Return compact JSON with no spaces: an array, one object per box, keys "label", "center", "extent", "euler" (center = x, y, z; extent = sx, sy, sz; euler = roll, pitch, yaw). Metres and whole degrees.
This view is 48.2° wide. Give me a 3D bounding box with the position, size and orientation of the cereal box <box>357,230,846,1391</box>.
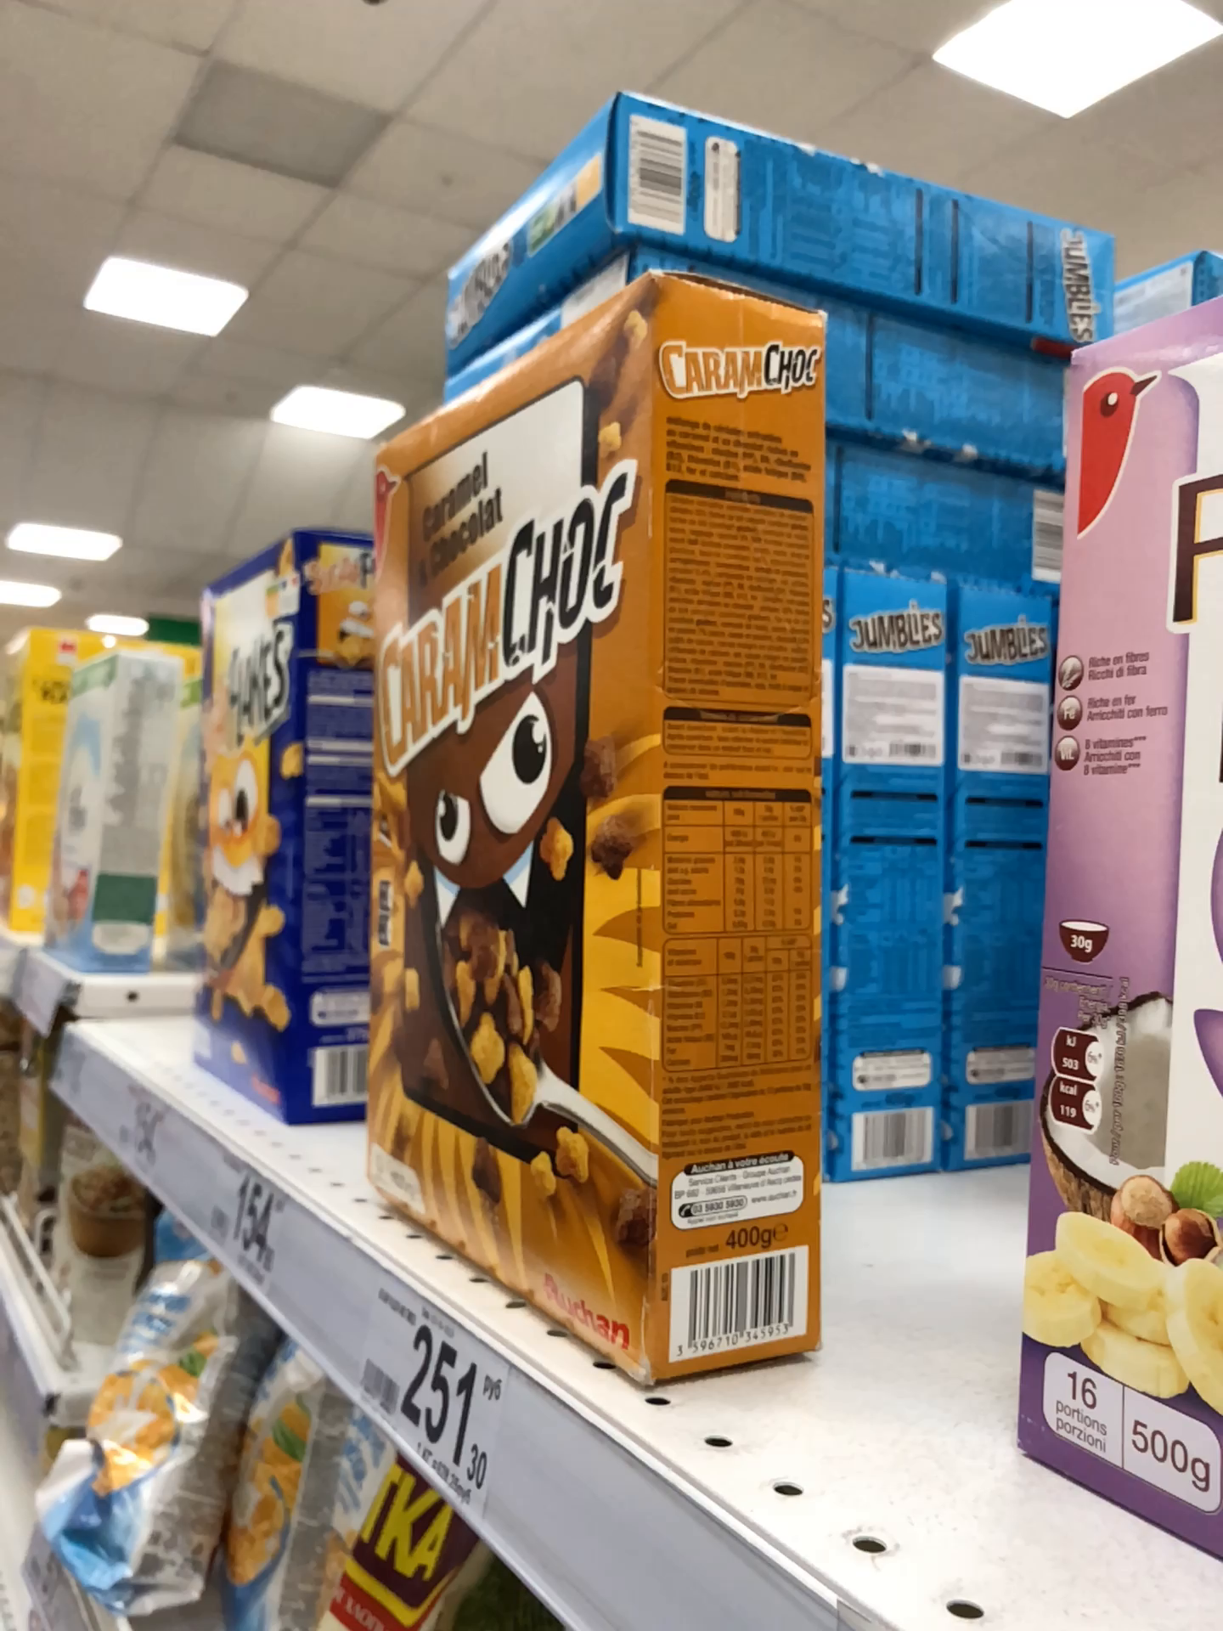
[{"label":"cereal box","center":[-0.016,-0.002,0.420],"extent":[0.060,0.270,0.200],"euler":[1,-1,-29]}]
